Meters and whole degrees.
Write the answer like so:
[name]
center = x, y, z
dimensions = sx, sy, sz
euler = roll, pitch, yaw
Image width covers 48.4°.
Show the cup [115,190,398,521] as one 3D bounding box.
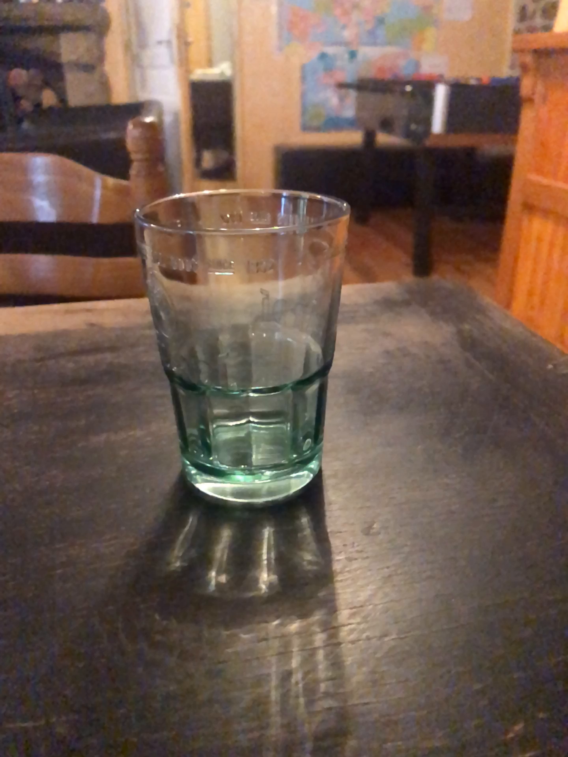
[cup]
center = -0.015, -0.016, 0.262
dimensions = 0.089, 0.103, 0.083
euler = 0, 25, 0
